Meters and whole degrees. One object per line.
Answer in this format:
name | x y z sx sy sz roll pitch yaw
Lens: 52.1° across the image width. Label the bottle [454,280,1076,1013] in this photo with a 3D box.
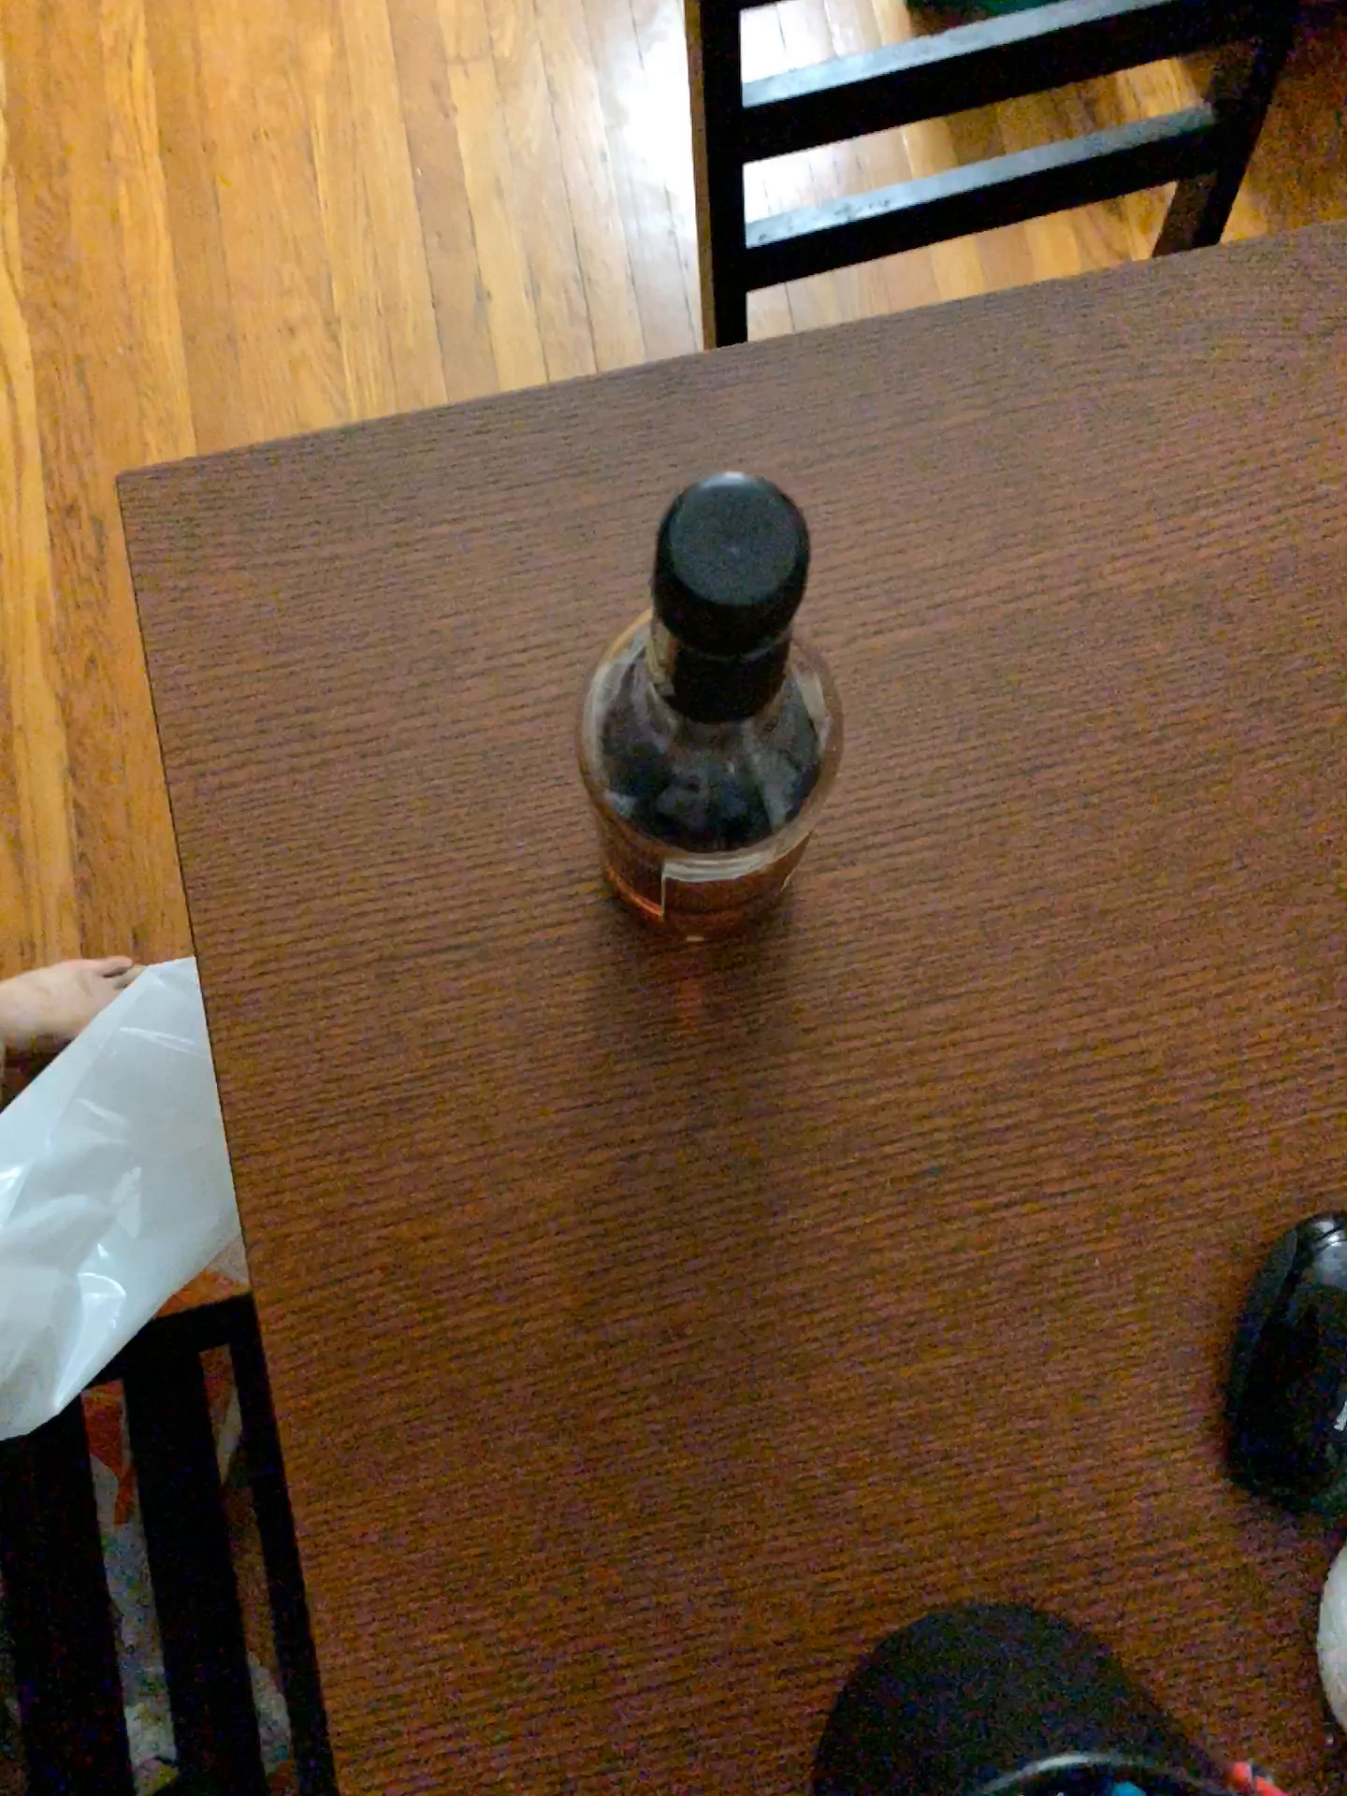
bottle | 0.016 -0.039 0.408 0.090 0.290 0.090 0 80 0
